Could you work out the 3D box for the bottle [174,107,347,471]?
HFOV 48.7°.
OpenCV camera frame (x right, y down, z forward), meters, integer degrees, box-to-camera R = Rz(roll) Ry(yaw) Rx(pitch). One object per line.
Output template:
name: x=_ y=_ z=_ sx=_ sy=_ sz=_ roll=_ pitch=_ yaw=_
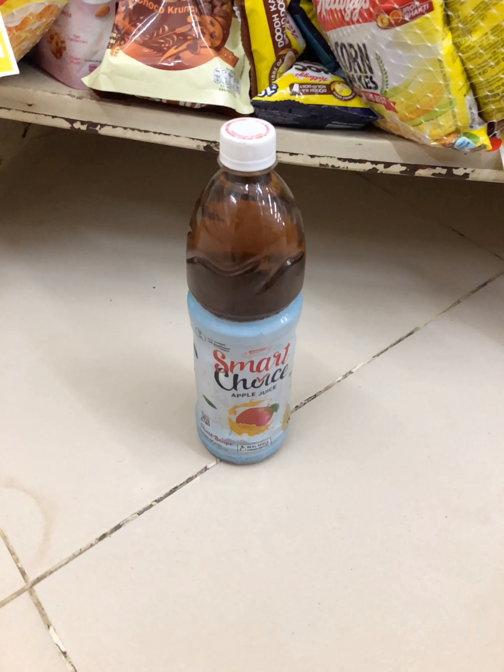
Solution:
bottle: x=-0.003 y=-0.013 z=0.375 sx=0.080 sy=0.248 sz=0.080 roll=1 pitch=45 yaw=-1
